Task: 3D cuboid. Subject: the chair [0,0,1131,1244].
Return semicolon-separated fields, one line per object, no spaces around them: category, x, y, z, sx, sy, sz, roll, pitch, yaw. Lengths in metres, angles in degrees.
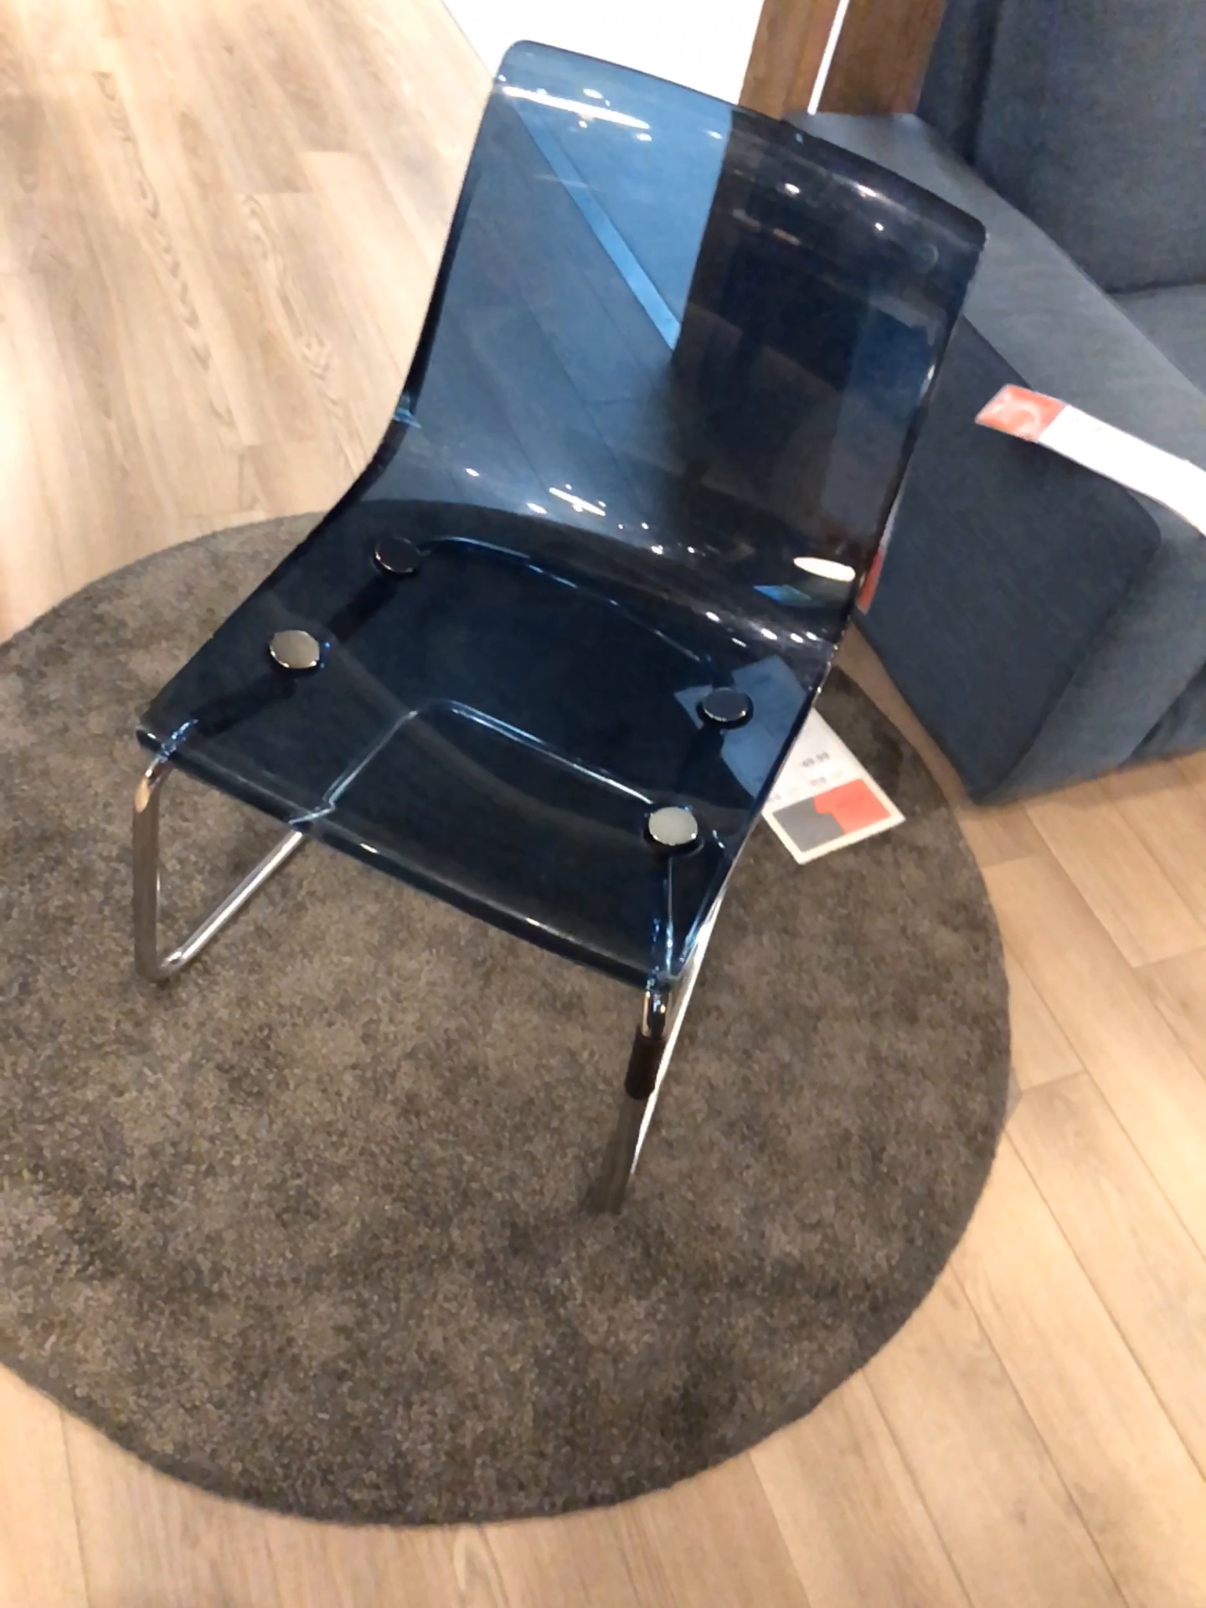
chair;-0.050;-0.116;1.188;0.580;0.867;0.502;25;51;7
